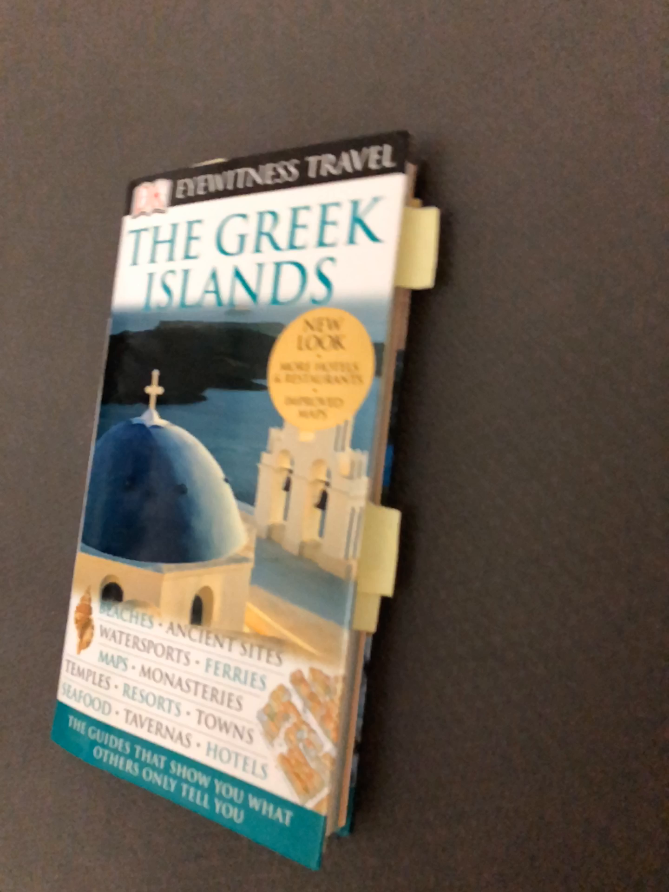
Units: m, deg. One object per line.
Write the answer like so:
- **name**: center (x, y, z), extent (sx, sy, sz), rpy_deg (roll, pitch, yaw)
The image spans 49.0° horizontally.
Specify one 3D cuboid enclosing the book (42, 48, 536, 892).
- **book**: center (-0.026, 0.000, 0.262), extent (0.161, 0.030, 0.240), rpy_deg (6, 86, 36)
